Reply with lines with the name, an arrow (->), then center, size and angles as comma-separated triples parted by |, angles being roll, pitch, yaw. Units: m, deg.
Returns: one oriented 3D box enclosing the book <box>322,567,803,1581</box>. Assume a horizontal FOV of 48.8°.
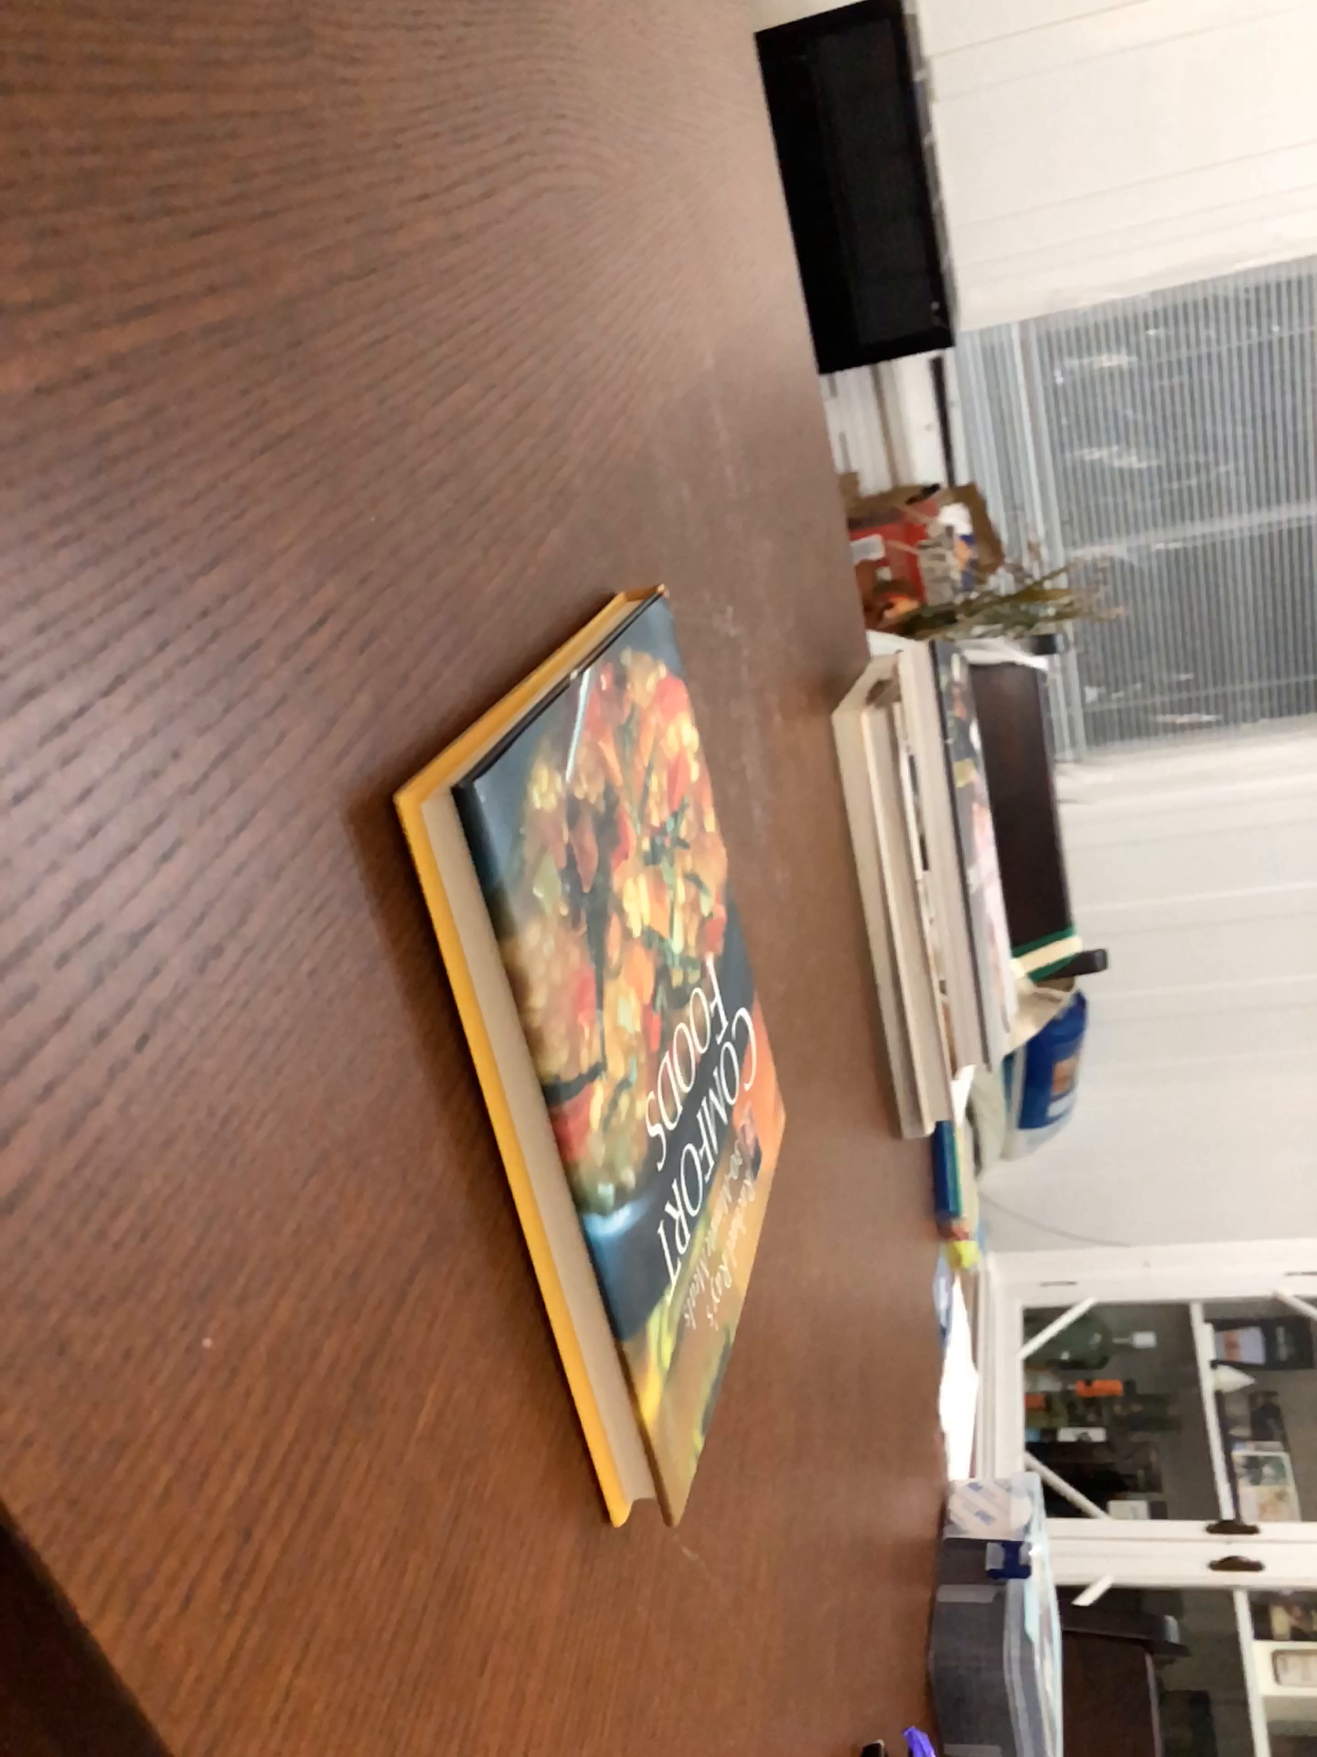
book -> -0.007, 0.038, 0.411 | 0.201, 0.030, 0.210 | -60, 139, -64
